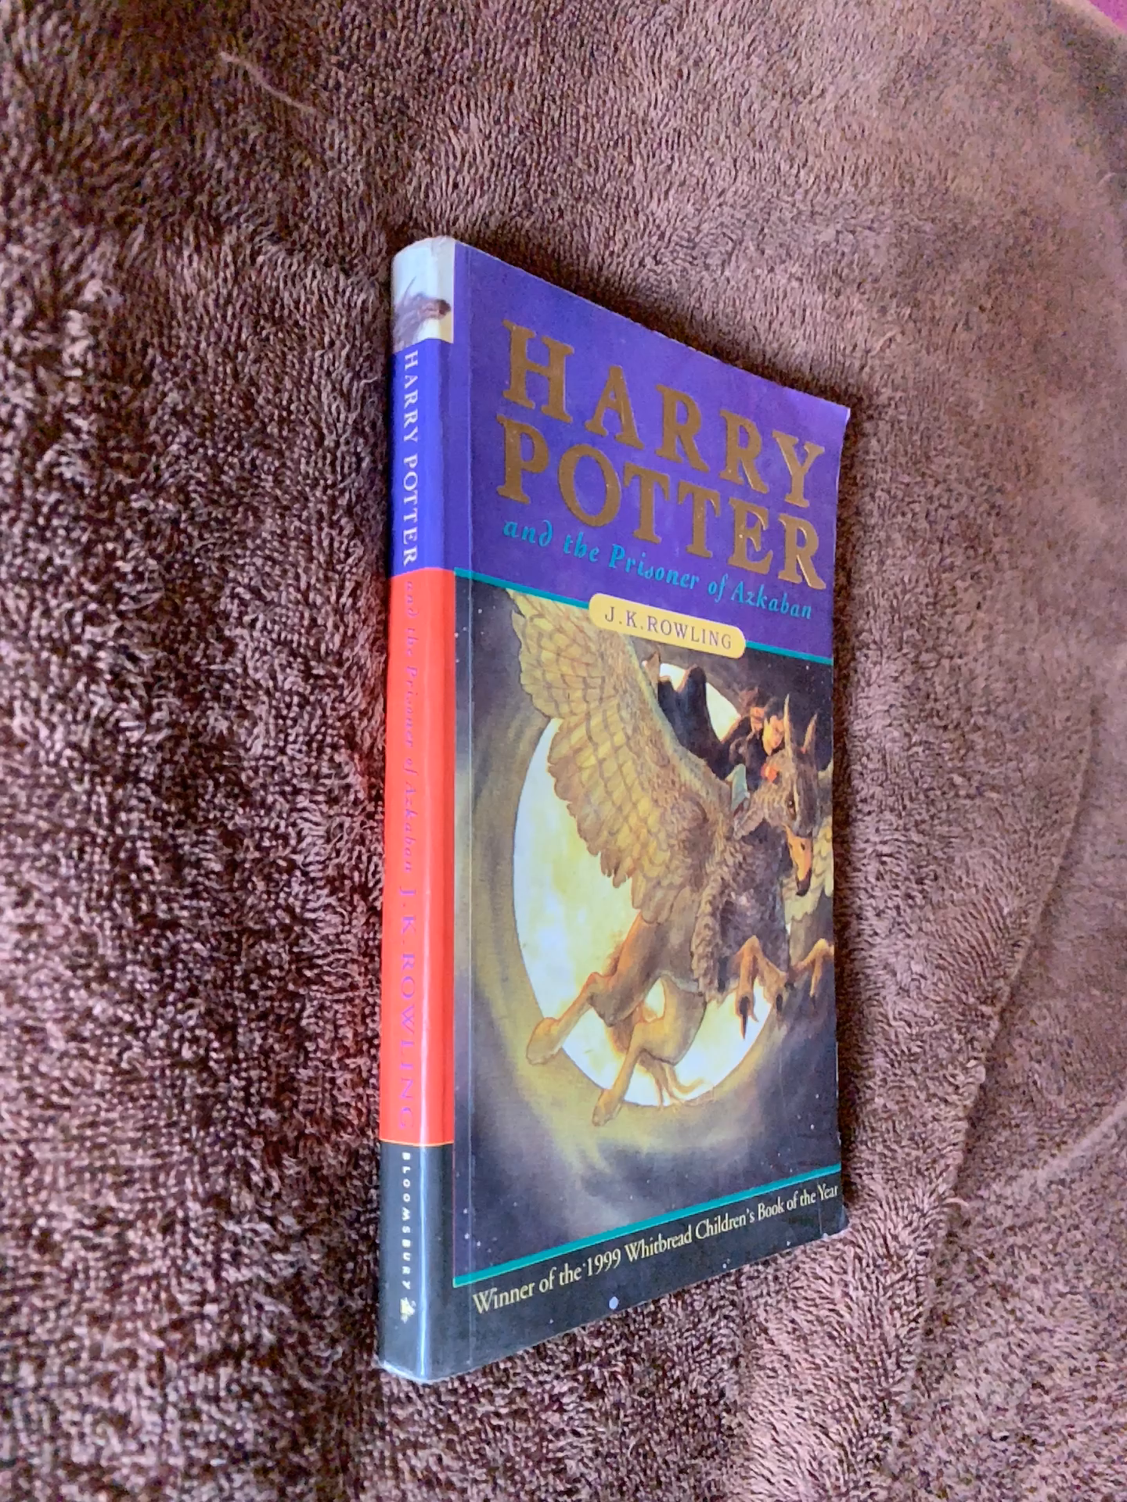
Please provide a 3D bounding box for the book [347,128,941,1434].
[{"bbox_3d":[0.025,0.005,0.213,0.131,0.020,0.180,5,84,-43],"label":"book"}]
